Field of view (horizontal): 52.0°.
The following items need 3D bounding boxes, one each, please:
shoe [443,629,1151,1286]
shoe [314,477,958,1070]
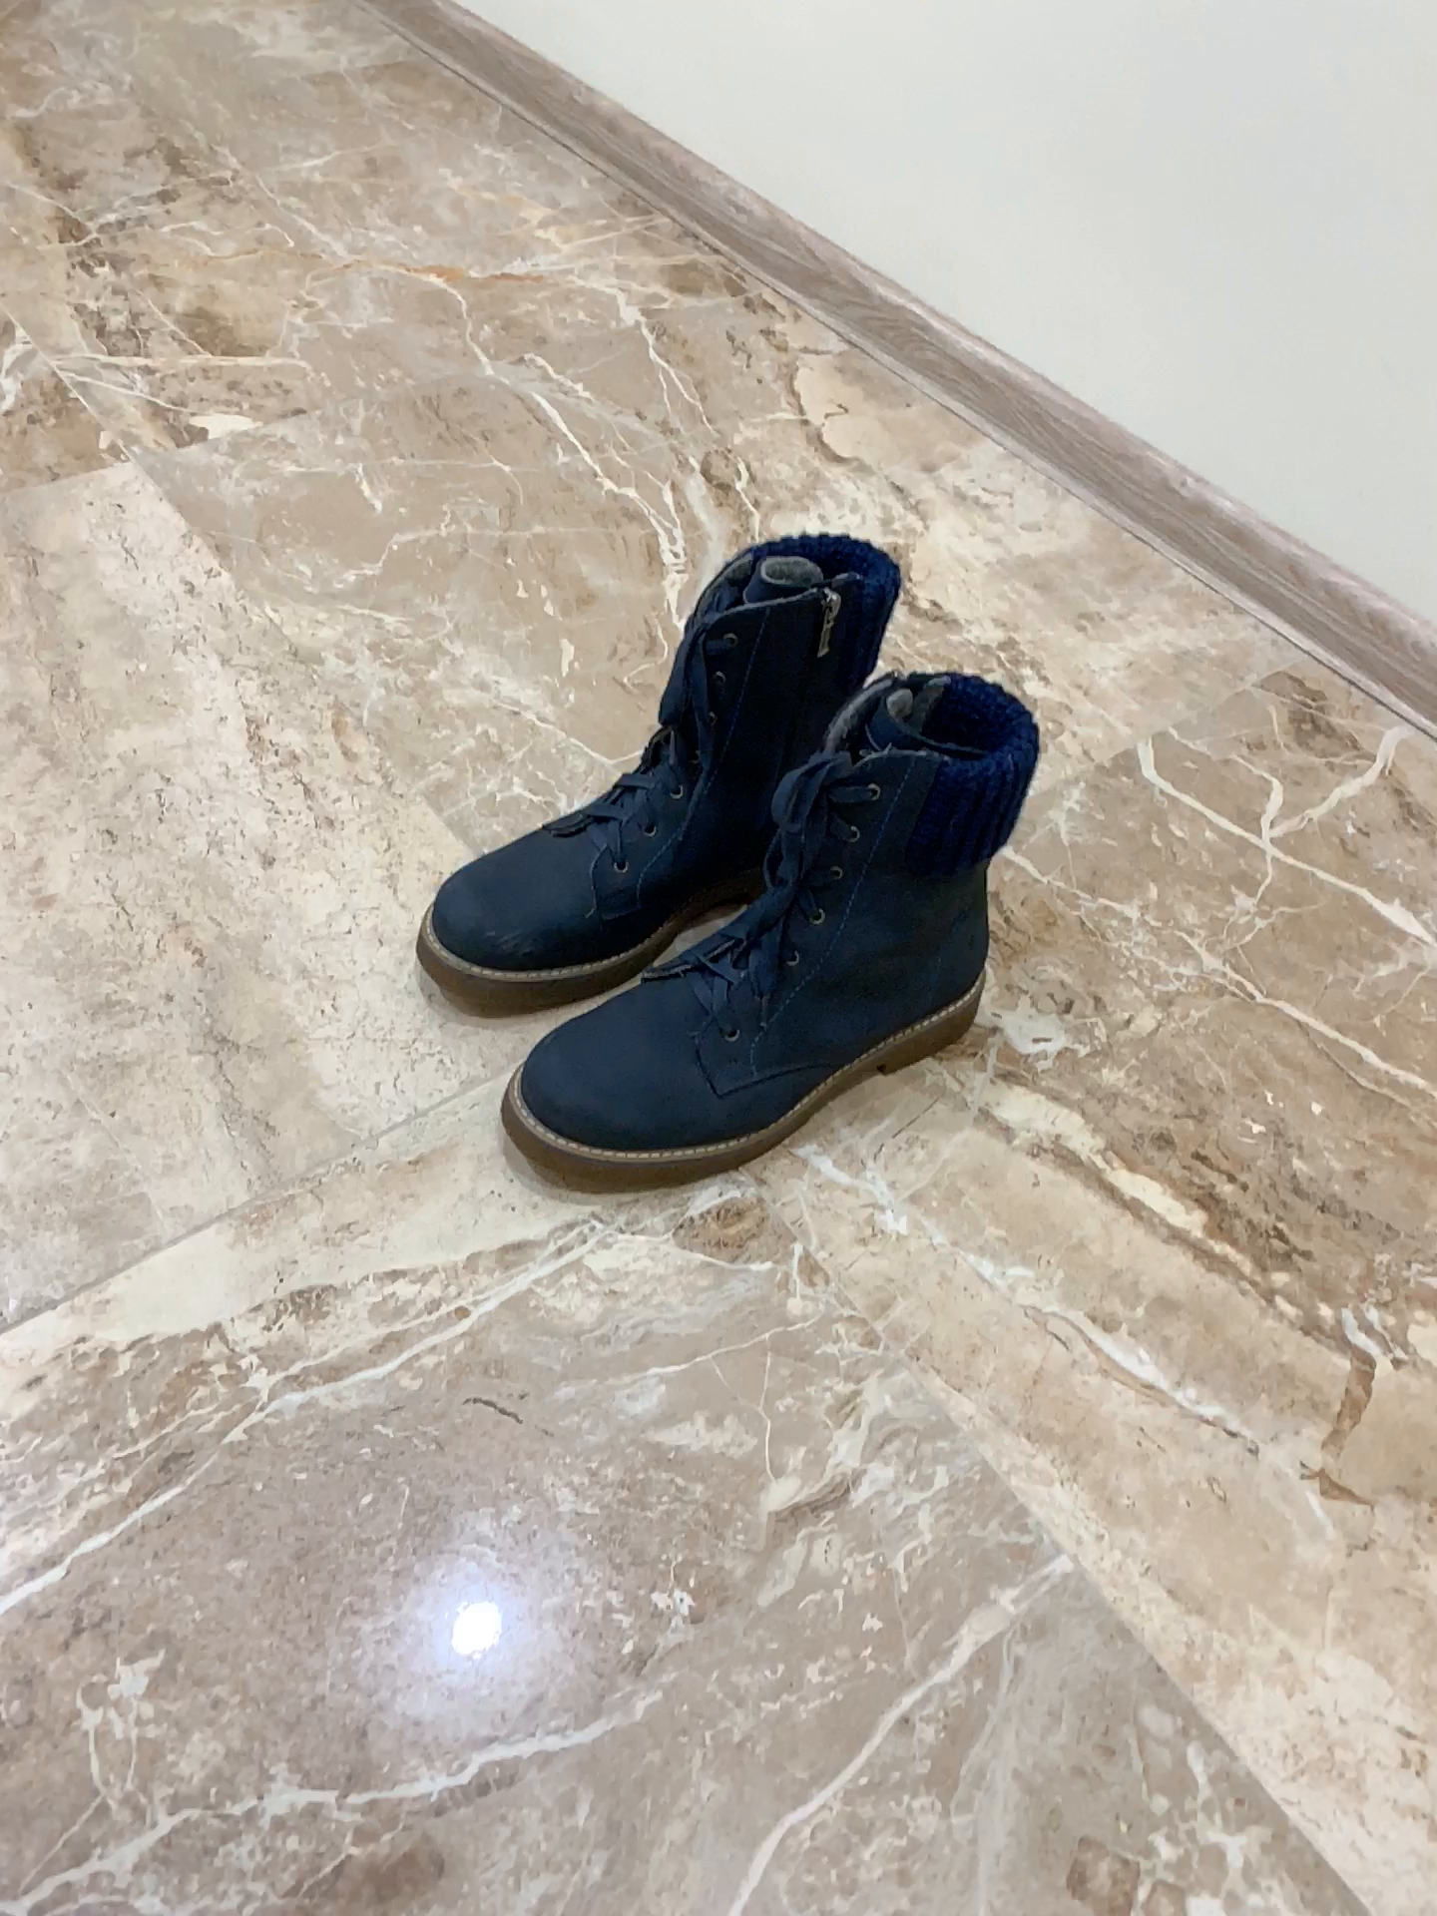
[{"bbox_3d":[0.027,-0.001,0.641,0.260,0.199,0.102,-21,55,-23],"label":"shoe"},{"bbox_3d":[-0.039,-0.089,0.708,0.260,0.199,0.102,-21,55,-23],"label":"shoe"}]
